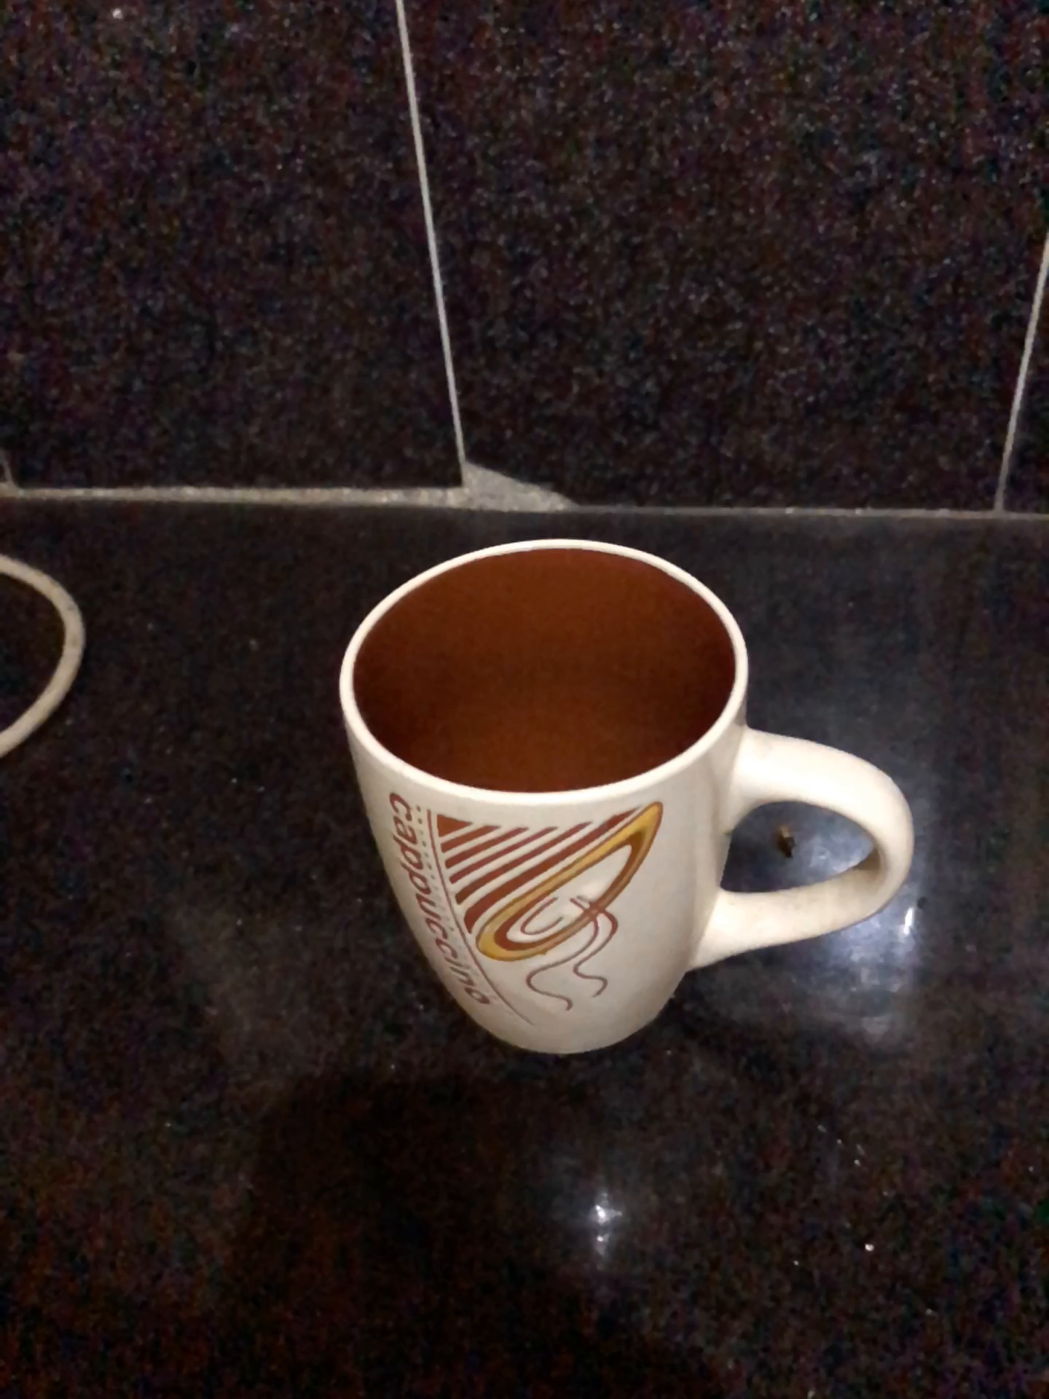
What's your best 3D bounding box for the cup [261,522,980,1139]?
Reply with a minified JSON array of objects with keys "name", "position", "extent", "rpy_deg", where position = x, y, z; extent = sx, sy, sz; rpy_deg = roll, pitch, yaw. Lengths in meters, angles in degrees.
[{"name":"cup","position":[0.024,0.025,0.257],"extent":[0.120,0.089,0.091],"rpy_deg":[3,42,10]}]
